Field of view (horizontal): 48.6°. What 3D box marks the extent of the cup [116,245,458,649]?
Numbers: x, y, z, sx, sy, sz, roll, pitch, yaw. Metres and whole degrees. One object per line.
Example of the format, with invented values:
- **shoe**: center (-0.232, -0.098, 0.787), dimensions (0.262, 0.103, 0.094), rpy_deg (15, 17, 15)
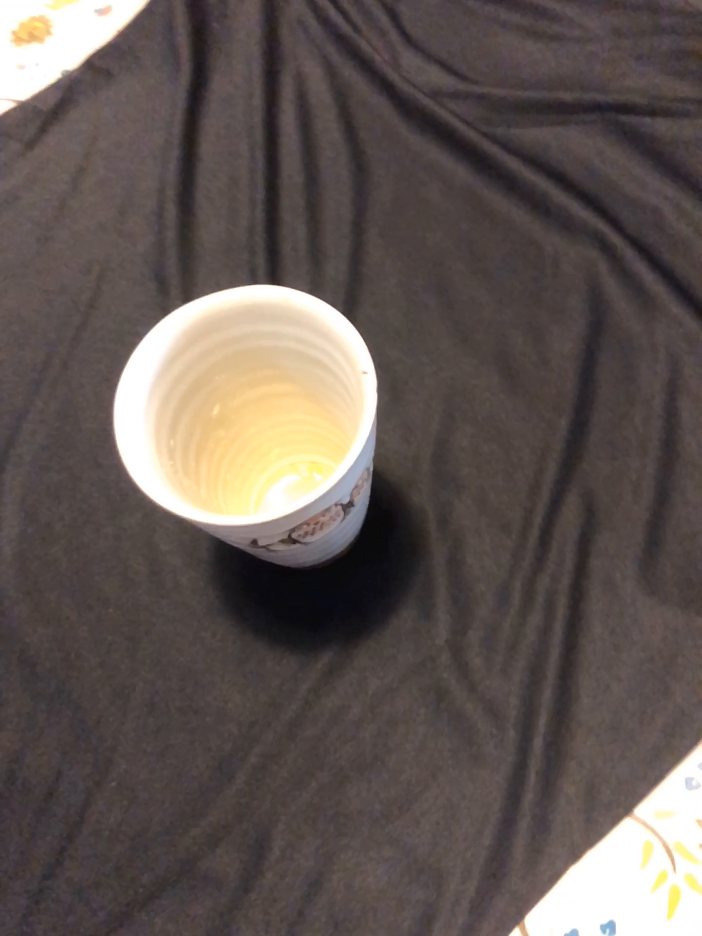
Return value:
- **cup**: center (-0.017, 0.000, 0.278), dimensions (0.080, 0.100, 0.090), rpy_deg (-20, 66, 0)
